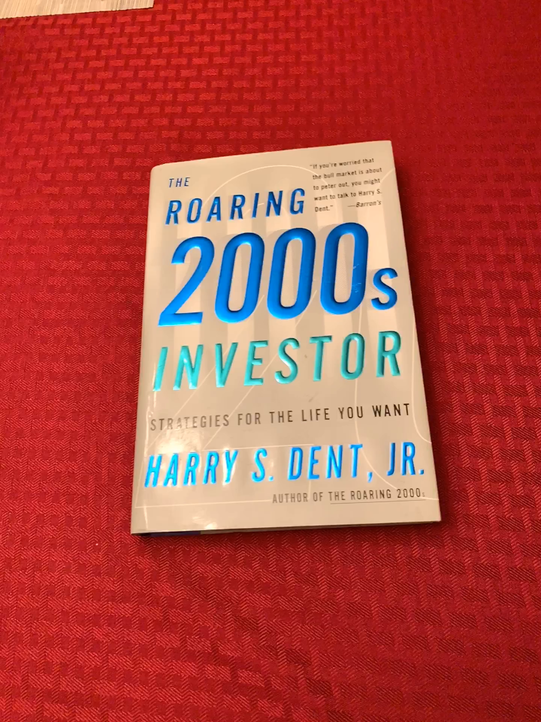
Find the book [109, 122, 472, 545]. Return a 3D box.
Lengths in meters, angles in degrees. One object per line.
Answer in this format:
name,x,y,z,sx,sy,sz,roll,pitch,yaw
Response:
book,0.005,-0.024,0.325,0.170,0.040,0.240,-4,67,5
